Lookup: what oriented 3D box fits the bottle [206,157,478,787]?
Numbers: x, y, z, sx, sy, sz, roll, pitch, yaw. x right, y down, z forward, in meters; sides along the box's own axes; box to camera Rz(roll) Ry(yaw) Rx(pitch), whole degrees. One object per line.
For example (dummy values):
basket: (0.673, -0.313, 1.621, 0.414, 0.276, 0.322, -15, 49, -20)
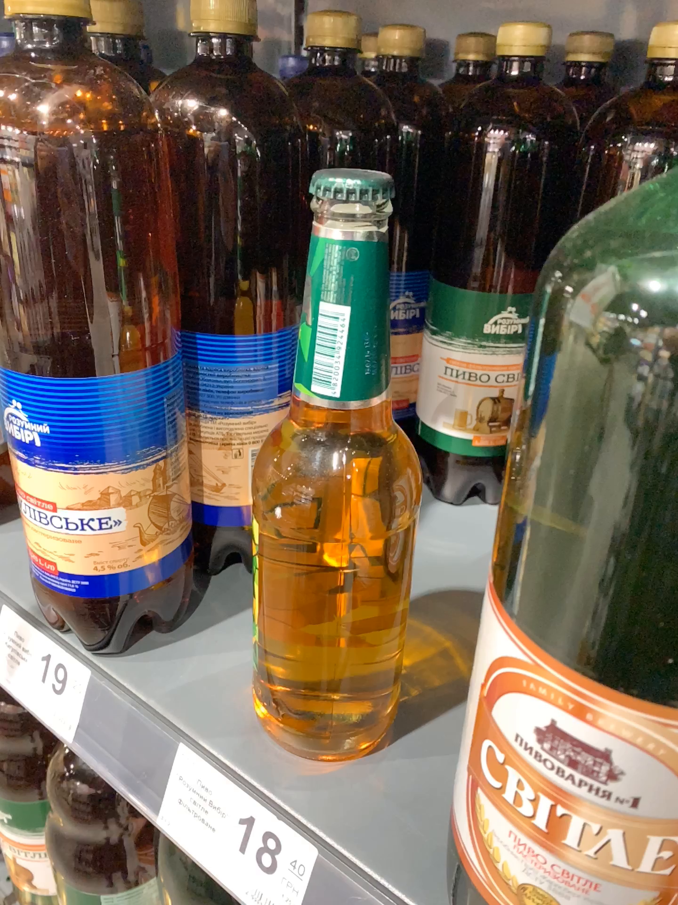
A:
bottle: (0.000, 0.014, 0.286, 0.066, 0.238, 0.072, 2, 27, -1)
